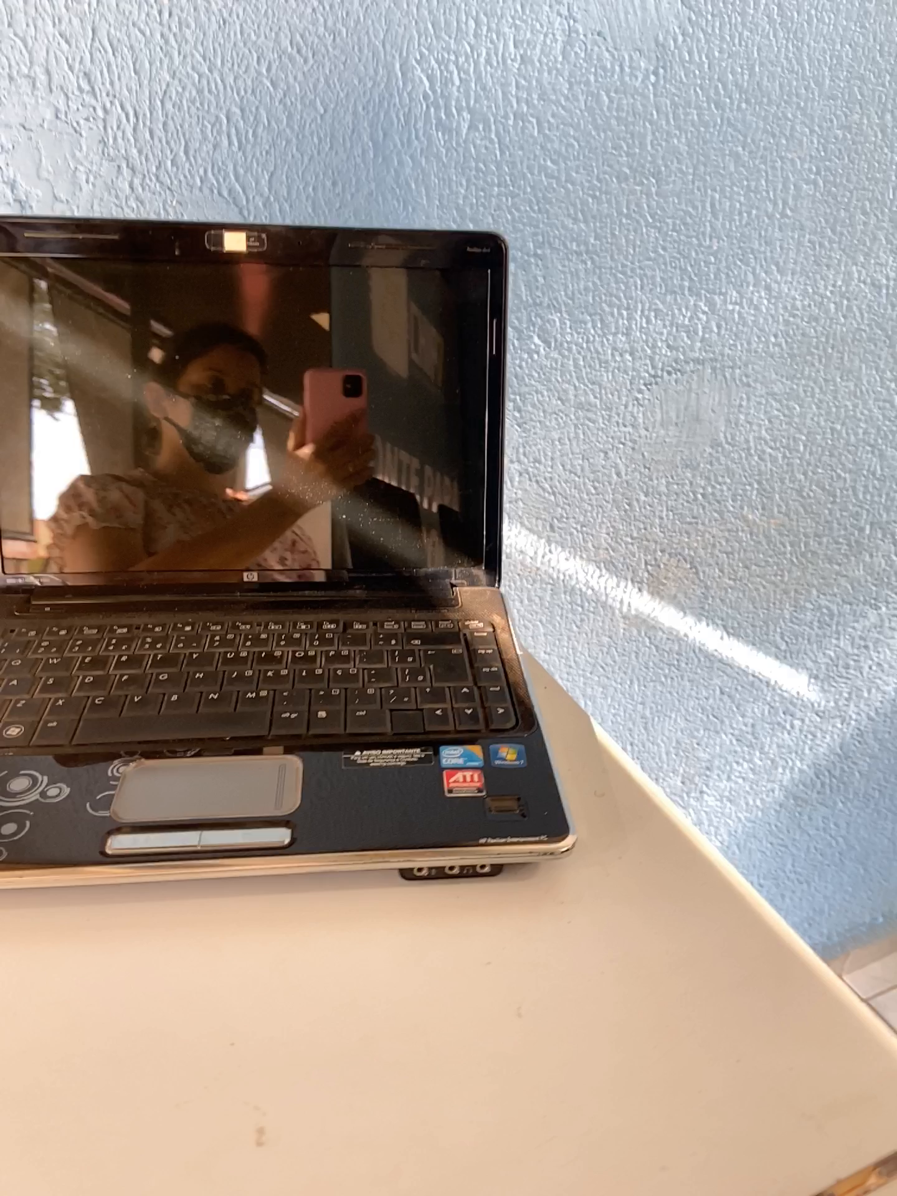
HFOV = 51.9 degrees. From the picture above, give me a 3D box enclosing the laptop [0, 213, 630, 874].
[{"bbox_3d":[-0.118,-0.059,0.474,0.321,0.210,0.303,-1,29,-6],"label":"laptop"}]
